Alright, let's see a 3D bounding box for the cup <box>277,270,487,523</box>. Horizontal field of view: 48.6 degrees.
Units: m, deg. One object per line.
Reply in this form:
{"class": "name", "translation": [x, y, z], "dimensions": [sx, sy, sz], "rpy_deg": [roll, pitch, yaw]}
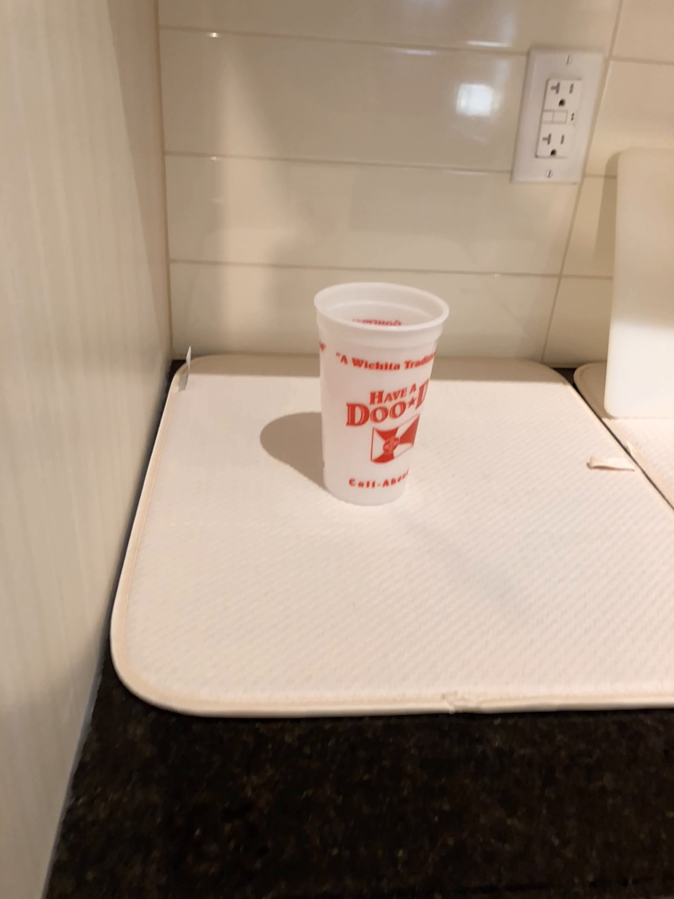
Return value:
{"class": "cup", "translation": [0.027, -0.043, 0.548], "dimensions": [0.100, 0.139, 0.100], "rpy_deg": [3, 30, -2]}
